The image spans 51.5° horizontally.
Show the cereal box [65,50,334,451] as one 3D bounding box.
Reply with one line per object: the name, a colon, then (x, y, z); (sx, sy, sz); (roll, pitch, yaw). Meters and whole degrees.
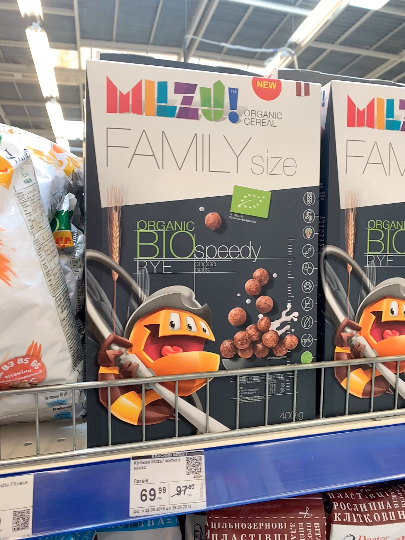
cereal box: (-0.006, -0.014, 0.348); (0.200, 0.270, 0.080); (-1, 4, -16)
